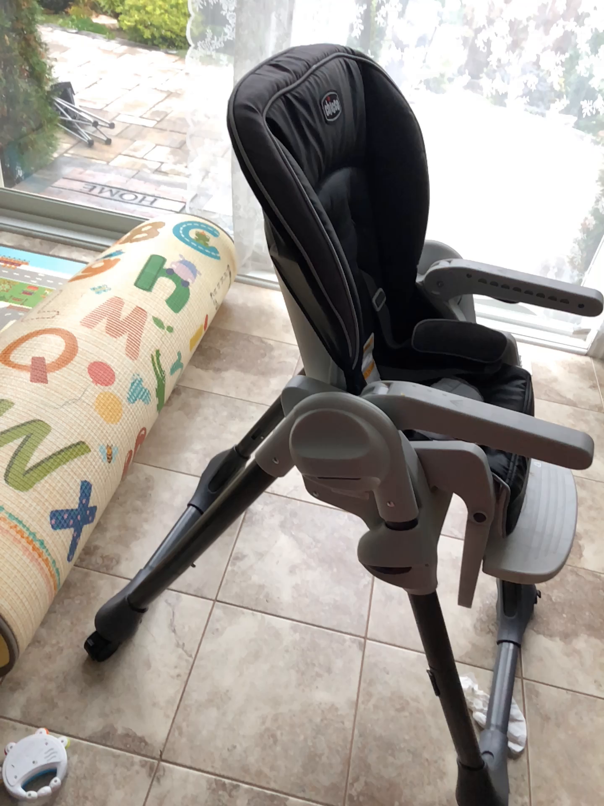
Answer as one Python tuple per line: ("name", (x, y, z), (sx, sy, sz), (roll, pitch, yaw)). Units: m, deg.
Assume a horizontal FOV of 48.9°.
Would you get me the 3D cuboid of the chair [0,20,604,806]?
("chair", (0.115, 0.085, 1.063), (0.880, 0.996, 0.652), (19, 40, 11))
